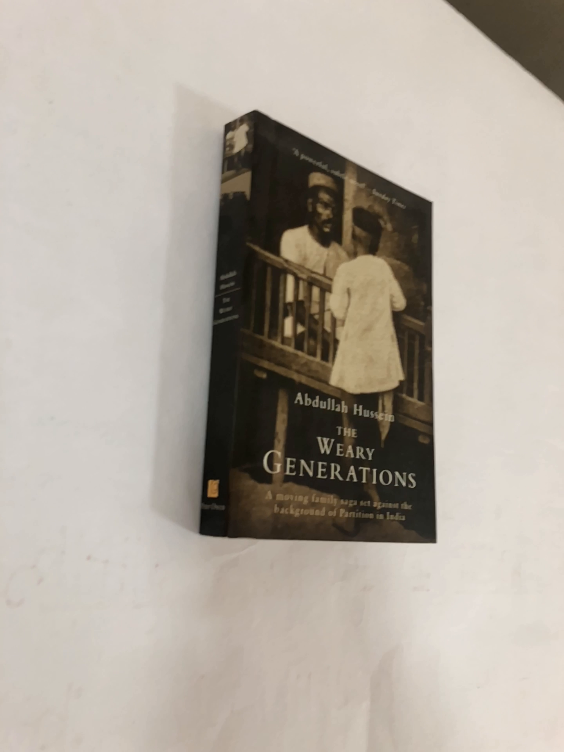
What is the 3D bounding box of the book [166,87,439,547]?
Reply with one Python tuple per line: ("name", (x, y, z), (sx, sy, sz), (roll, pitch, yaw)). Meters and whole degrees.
("book", (0.020, -0.019, 0.313), (0.141, 0.030, 0.200), (12, 73, -36))
